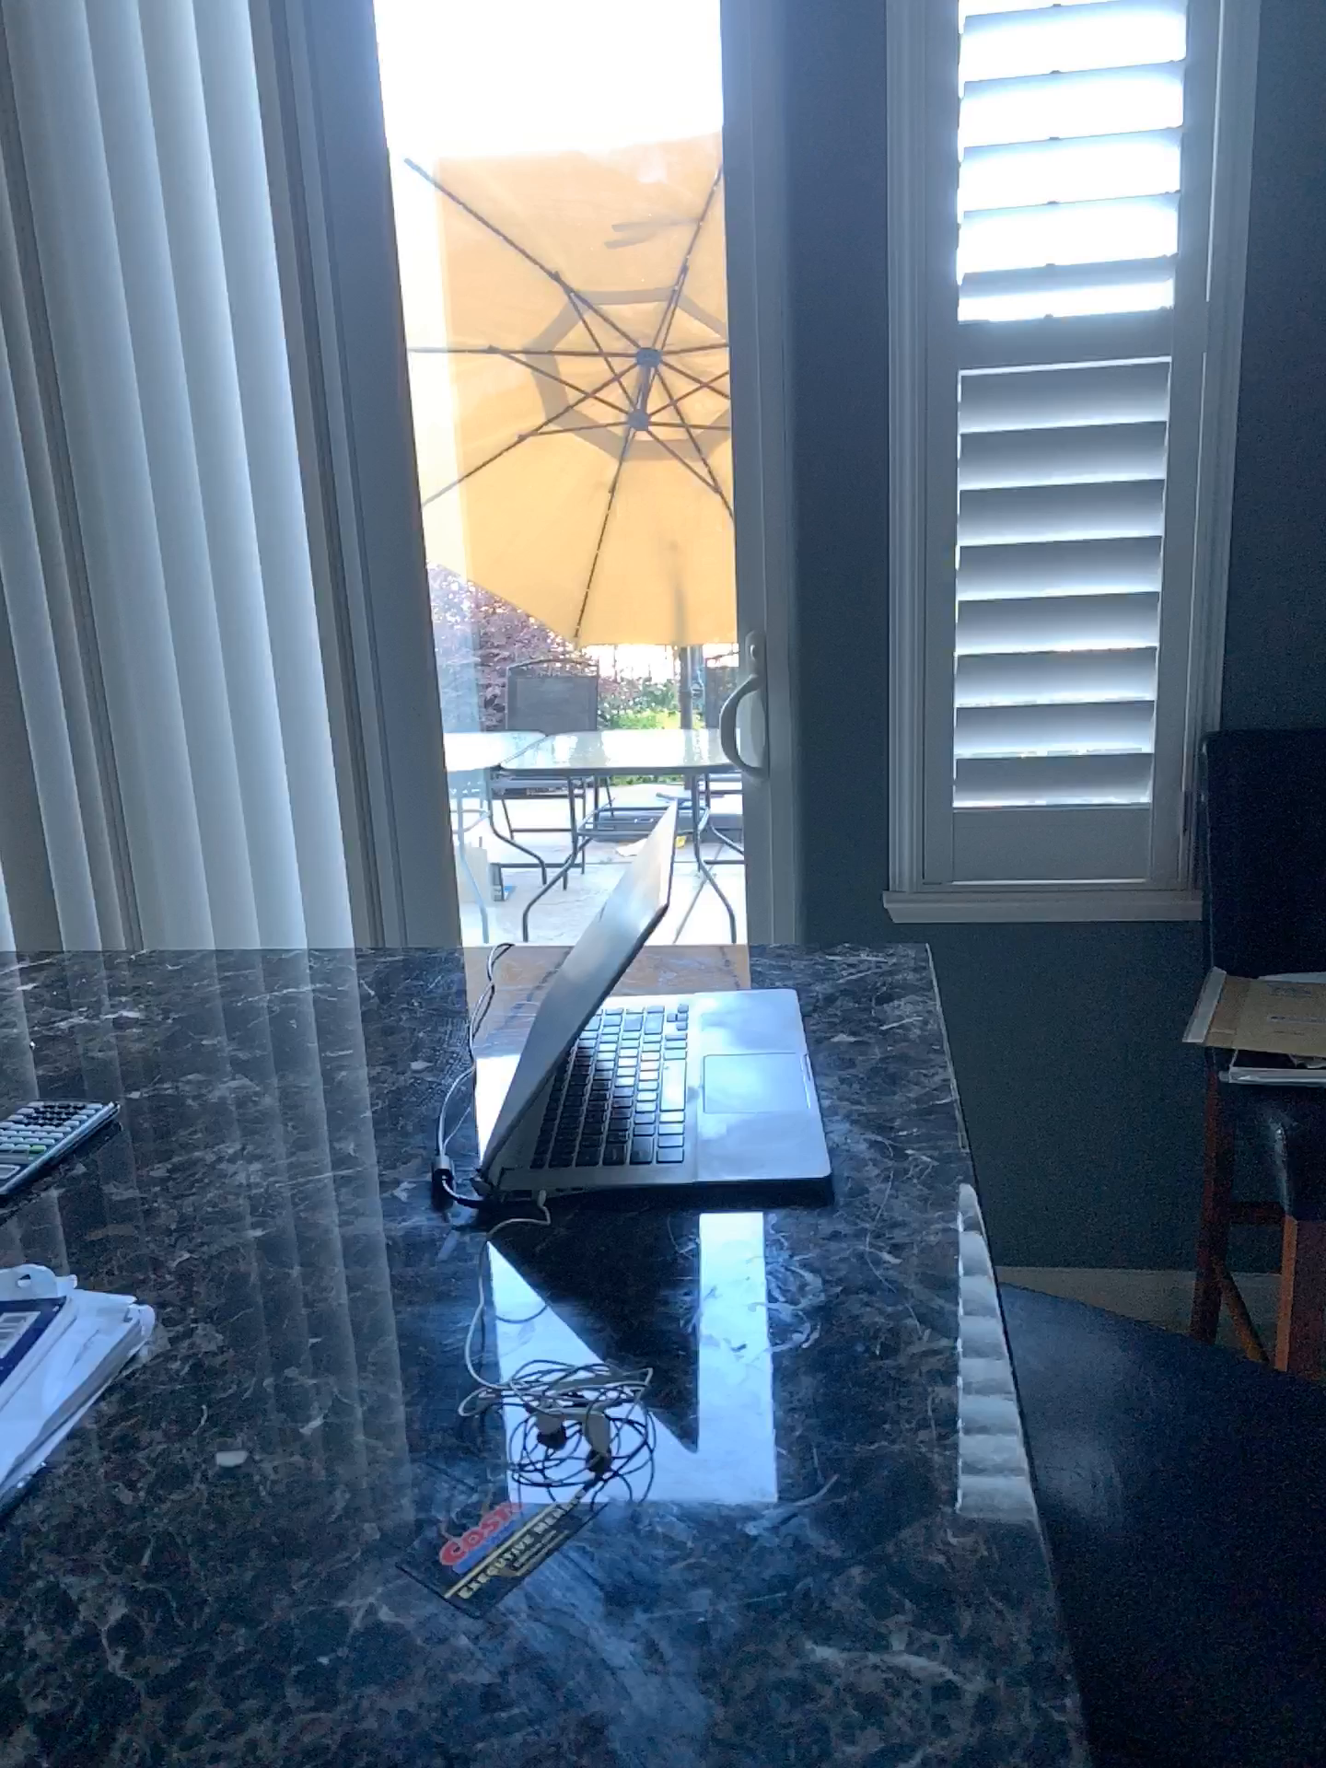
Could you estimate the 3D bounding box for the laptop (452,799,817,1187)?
[{"bbox_3d":[-0.009,0.065,1.069,0.233,0.188,0.363,-2,15,3],"label":"laptop"}]
